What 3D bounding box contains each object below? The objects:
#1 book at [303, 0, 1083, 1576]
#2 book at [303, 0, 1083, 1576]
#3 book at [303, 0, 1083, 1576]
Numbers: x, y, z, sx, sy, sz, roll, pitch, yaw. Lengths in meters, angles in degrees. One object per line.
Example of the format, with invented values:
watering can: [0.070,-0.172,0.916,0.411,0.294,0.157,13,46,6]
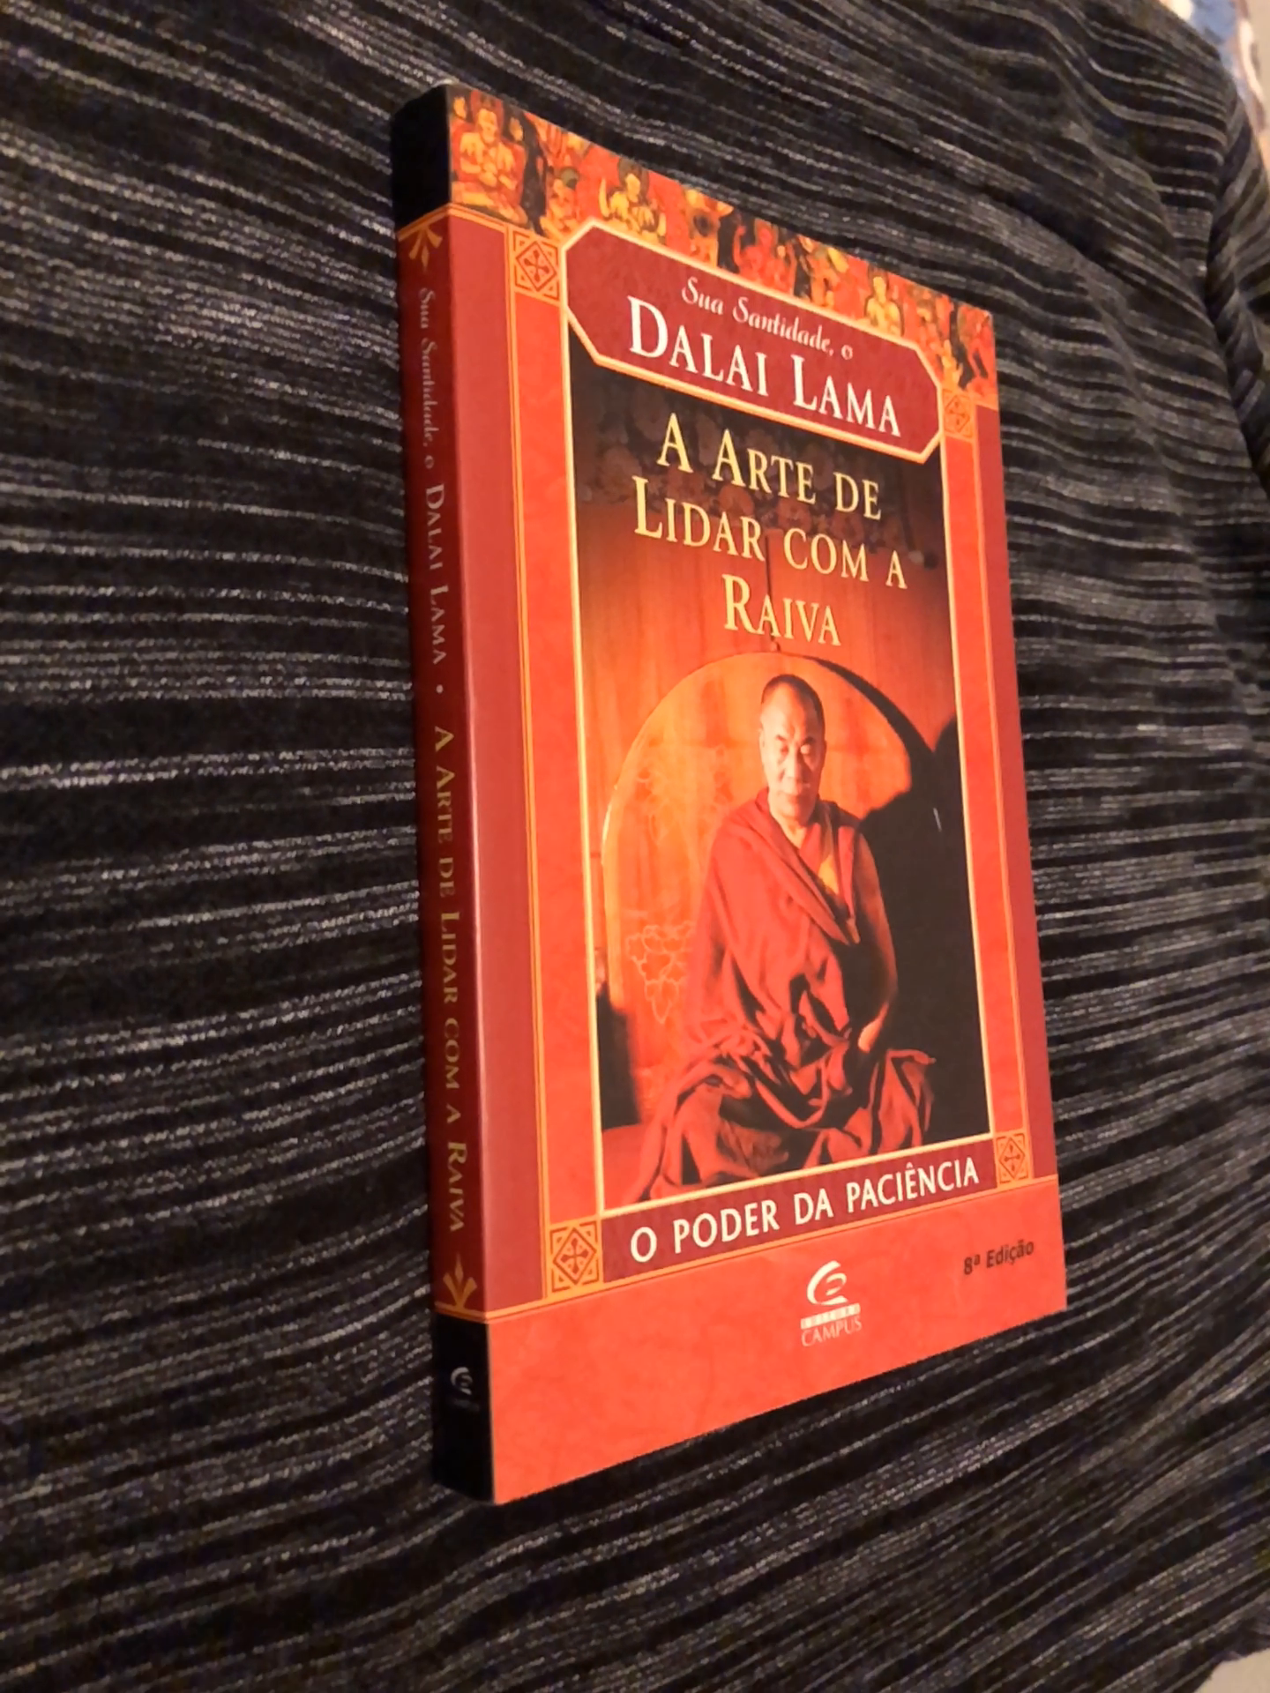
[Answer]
book: [0.019,-0.011,0.256,0.151,0.030,0.220,1,84,-42]
book: [0.019,-0.011,0.256,0.151,0.030,0.220,1,84,-42]
book: [0.019,-0.011,0.256,0.151,0.030,0.220,1,84,-42]
